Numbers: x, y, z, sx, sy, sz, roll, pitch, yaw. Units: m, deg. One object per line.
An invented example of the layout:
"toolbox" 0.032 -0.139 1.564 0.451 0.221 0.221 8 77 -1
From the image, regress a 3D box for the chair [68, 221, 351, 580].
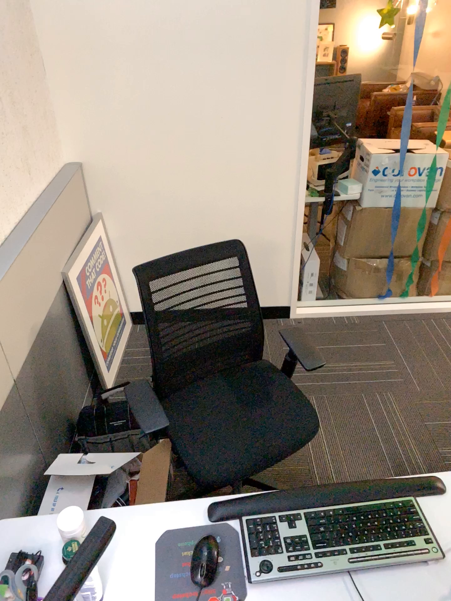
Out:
"chair" -0.071 0.337 1.725 0.670 0.954 0.654 -19 38 -23
